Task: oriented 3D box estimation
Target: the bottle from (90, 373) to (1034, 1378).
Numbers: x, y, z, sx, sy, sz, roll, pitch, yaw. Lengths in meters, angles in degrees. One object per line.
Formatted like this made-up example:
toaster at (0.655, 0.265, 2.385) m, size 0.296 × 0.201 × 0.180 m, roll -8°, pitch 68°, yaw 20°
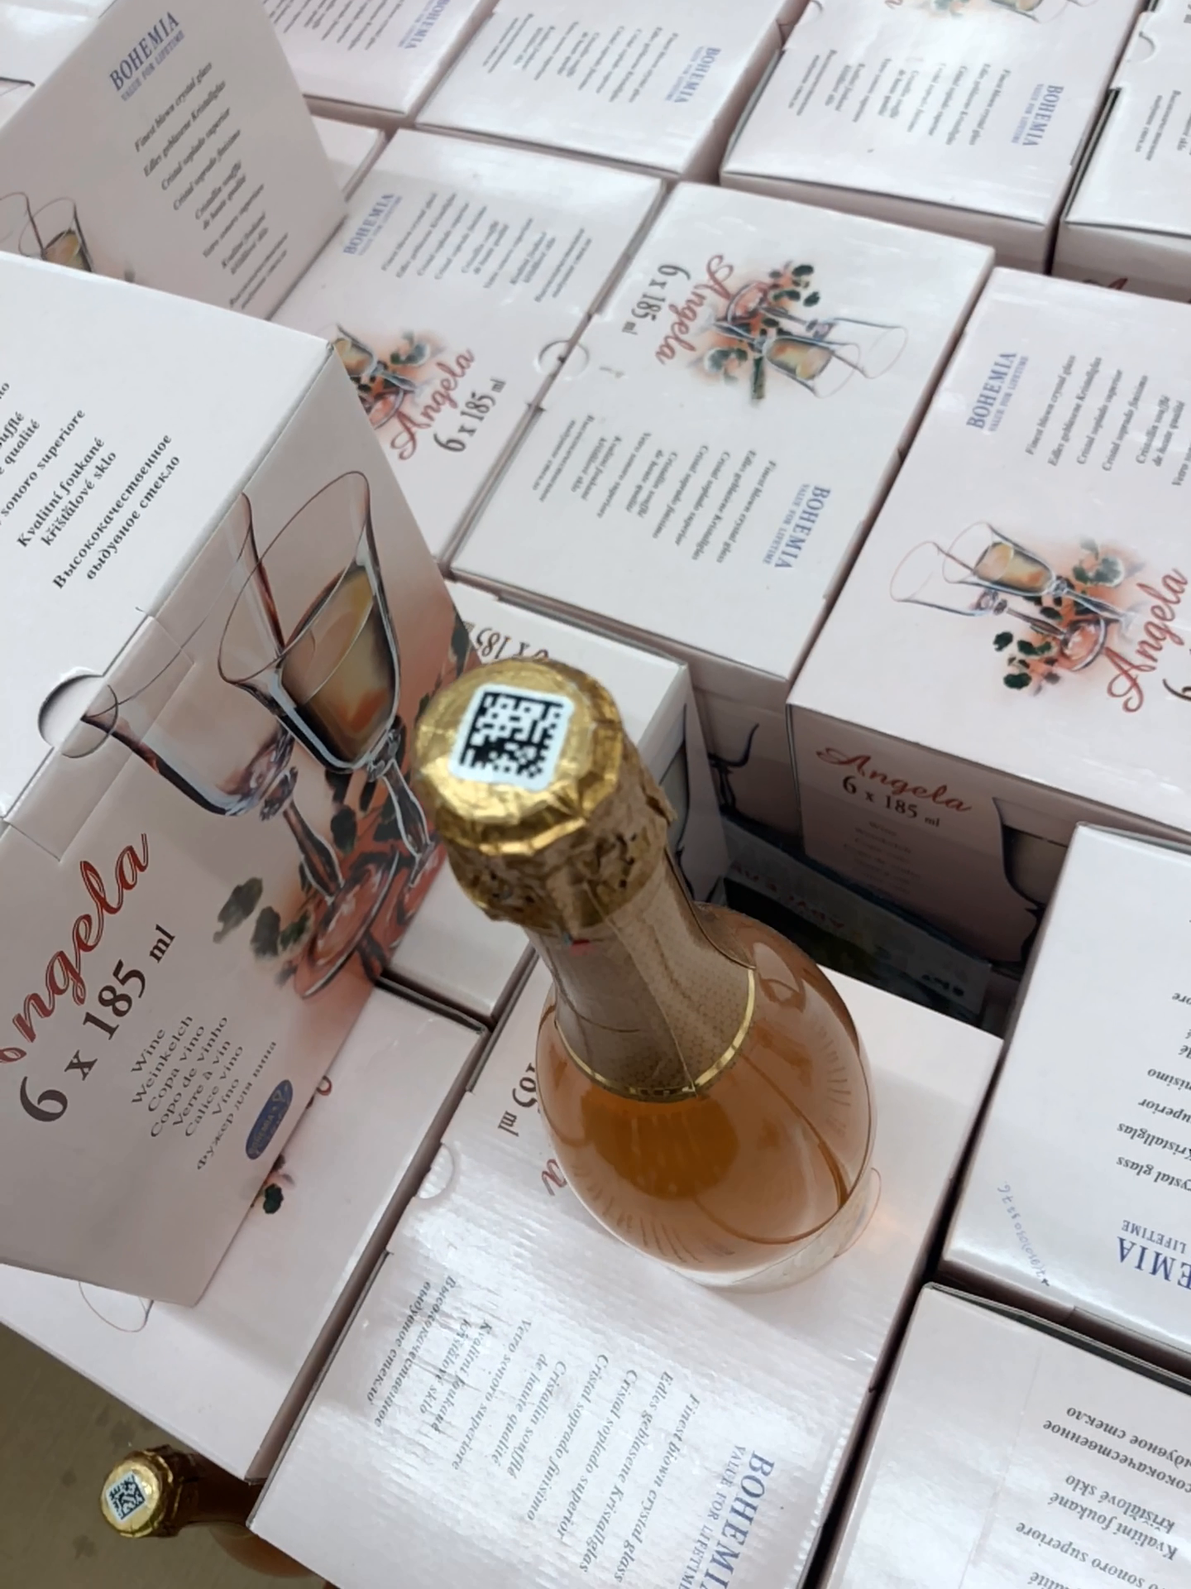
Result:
bottle at (0.019, 0.058, 0.315) m, size 0.090 × 0.299 × 0.100 m, roll 34°, pitch 74°, yaw 24°
